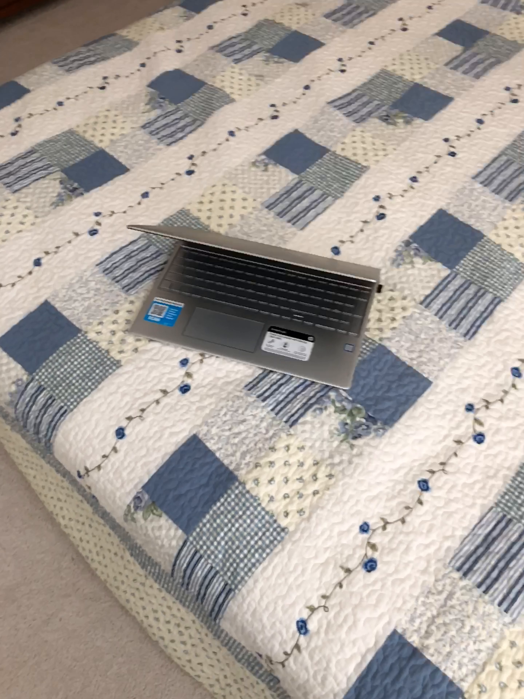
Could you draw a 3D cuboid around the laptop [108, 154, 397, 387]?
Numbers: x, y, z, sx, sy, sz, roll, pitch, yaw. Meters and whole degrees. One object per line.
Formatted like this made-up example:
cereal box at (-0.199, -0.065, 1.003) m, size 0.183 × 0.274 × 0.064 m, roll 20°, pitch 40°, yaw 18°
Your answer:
laptop at (-0.004, -0.126, 0.870) m, size 0.348 × 0.158 × 0.242 m, roll 14°, pitch 55°, yaw 10°
